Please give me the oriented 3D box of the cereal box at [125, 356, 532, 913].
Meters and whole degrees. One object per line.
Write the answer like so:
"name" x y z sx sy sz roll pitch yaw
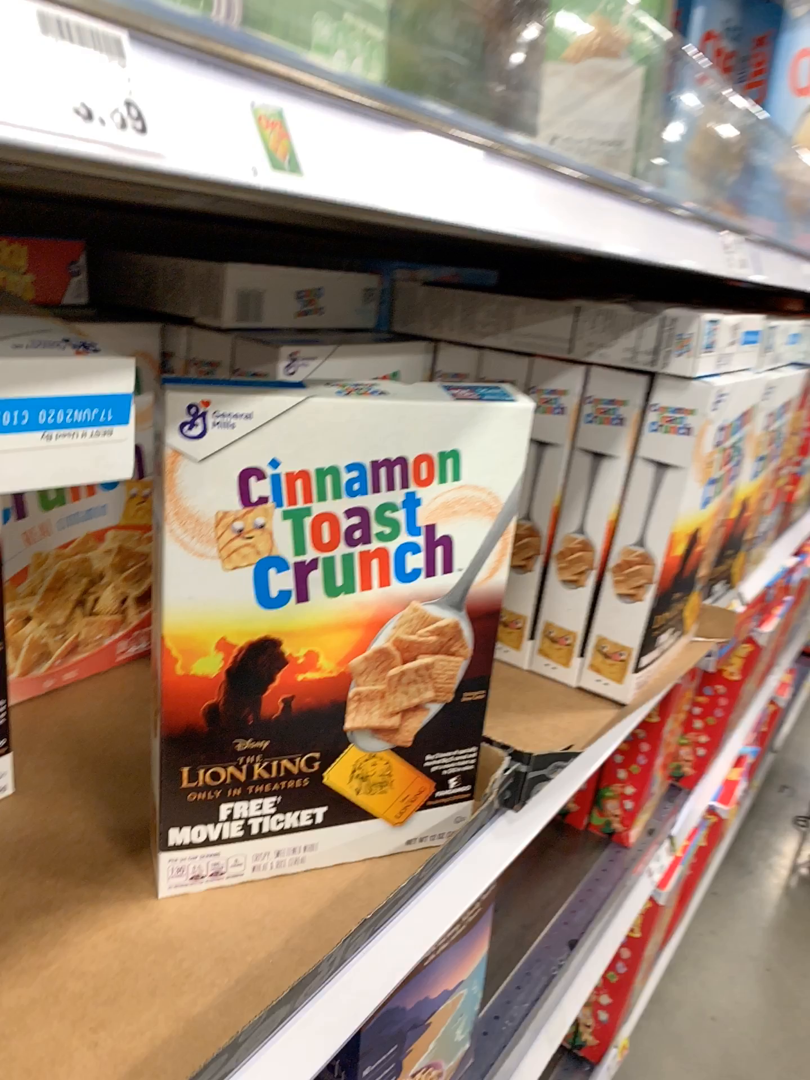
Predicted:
"cereal box" -0.049 0.050 0.455 0.190 0.279 0.060 -2 21 -23
